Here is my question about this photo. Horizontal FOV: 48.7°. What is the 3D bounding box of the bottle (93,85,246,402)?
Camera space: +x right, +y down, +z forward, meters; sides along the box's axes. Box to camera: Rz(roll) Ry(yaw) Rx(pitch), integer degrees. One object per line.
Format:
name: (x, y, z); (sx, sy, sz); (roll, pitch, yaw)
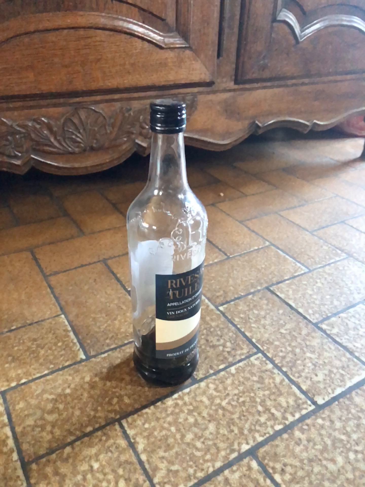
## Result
bottle: (-0.015, 0.008, 0.410); (0.090, 0.298, 0.091); (2, 30, -1)
